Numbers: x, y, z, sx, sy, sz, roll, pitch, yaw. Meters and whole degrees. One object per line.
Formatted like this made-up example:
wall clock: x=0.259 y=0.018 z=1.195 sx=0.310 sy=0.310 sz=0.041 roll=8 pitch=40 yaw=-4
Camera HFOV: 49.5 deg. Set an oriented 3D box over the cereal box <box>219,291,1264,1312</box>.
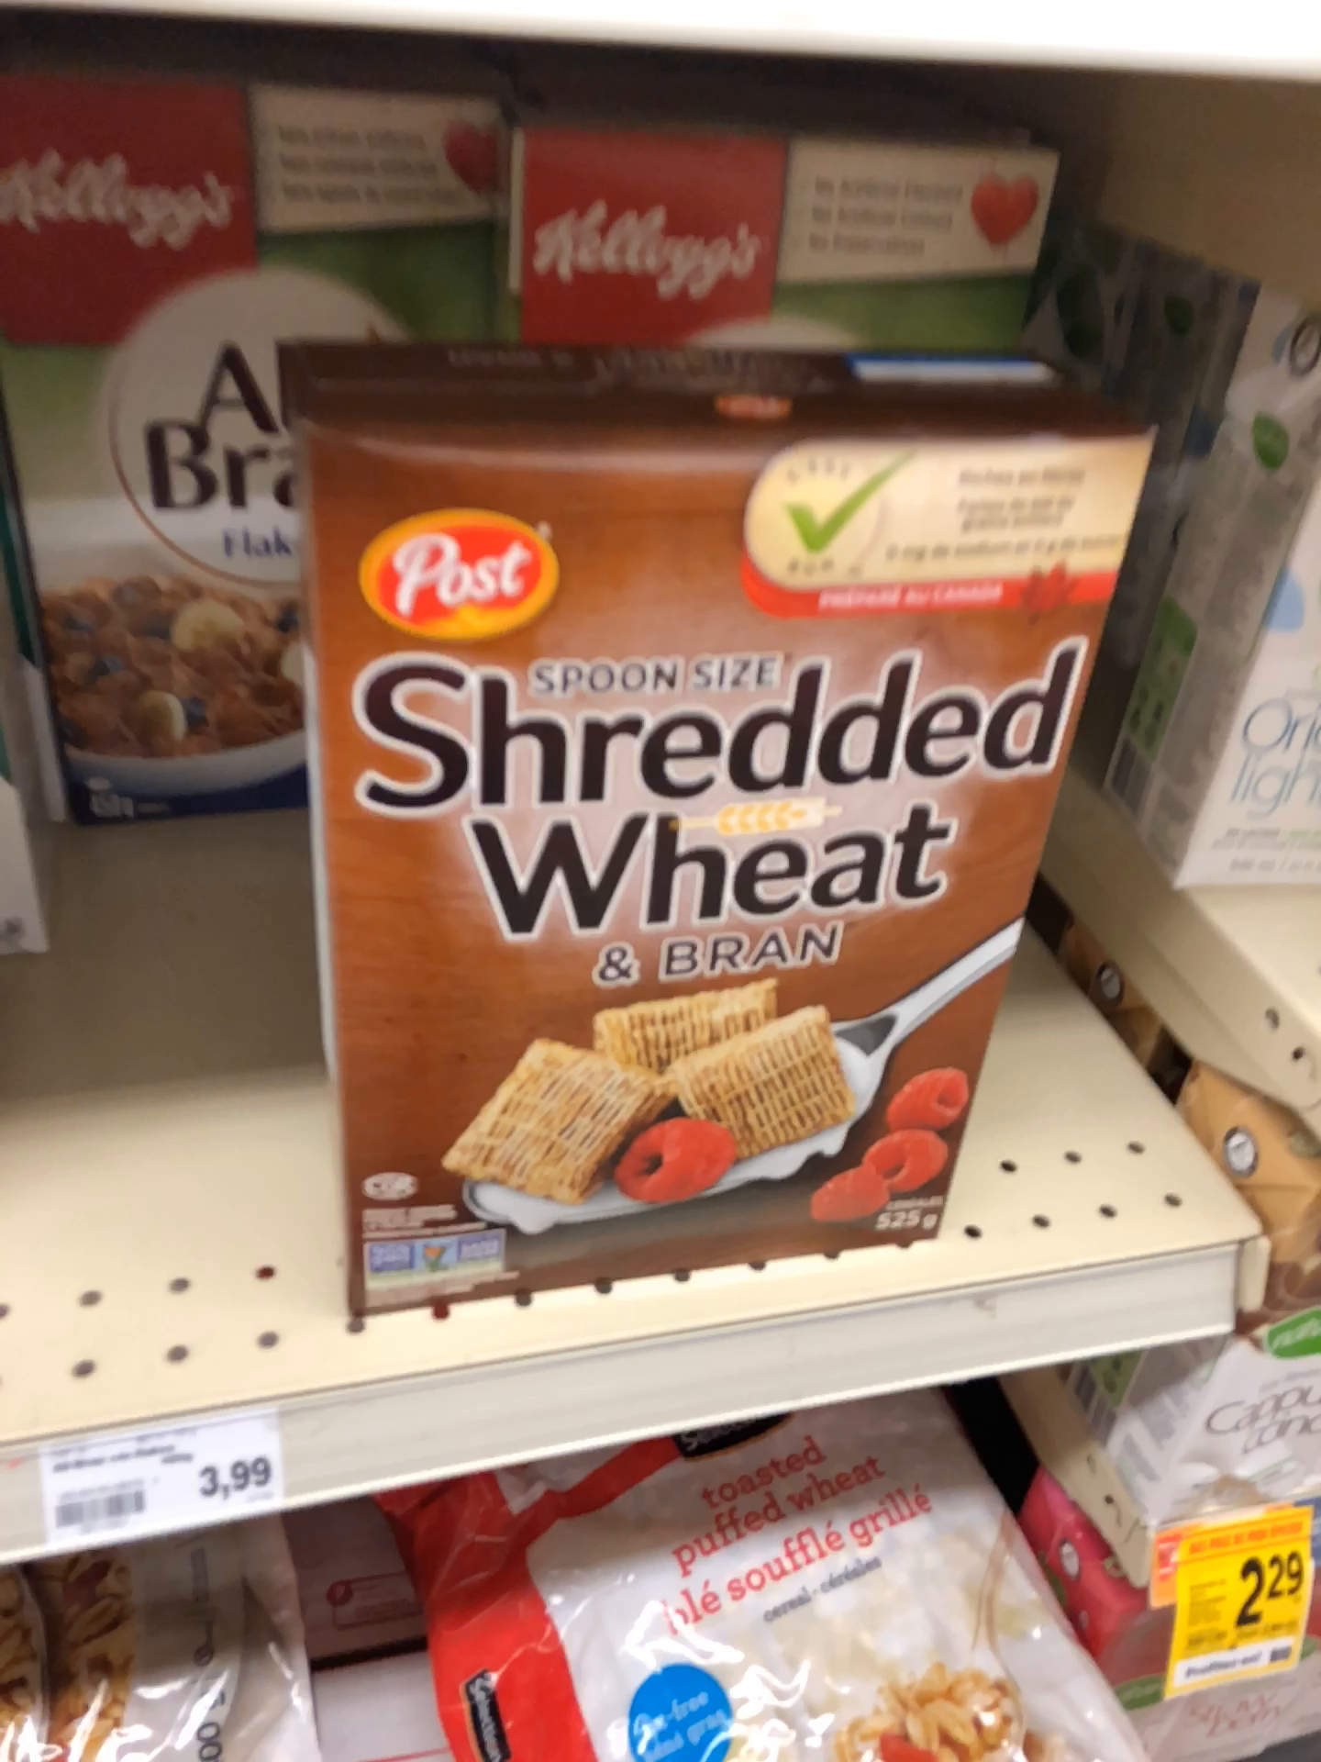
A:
cereal box: x=0.007 y=-0.012 z=0.374 sx=0.210 sy=0.248 sz=0.071 roll=-4 pitch=36 yaw=-13
